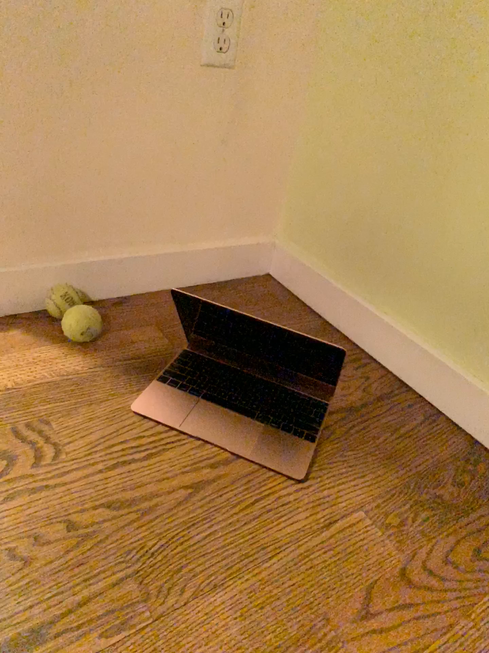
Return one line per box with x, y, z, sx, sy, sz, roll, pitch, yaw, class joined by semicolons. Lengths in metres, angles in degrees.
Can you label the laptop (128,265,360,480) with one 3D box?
0.001;0.058;0.795;0.288;0.168;0.207;19;33;13;laptop
